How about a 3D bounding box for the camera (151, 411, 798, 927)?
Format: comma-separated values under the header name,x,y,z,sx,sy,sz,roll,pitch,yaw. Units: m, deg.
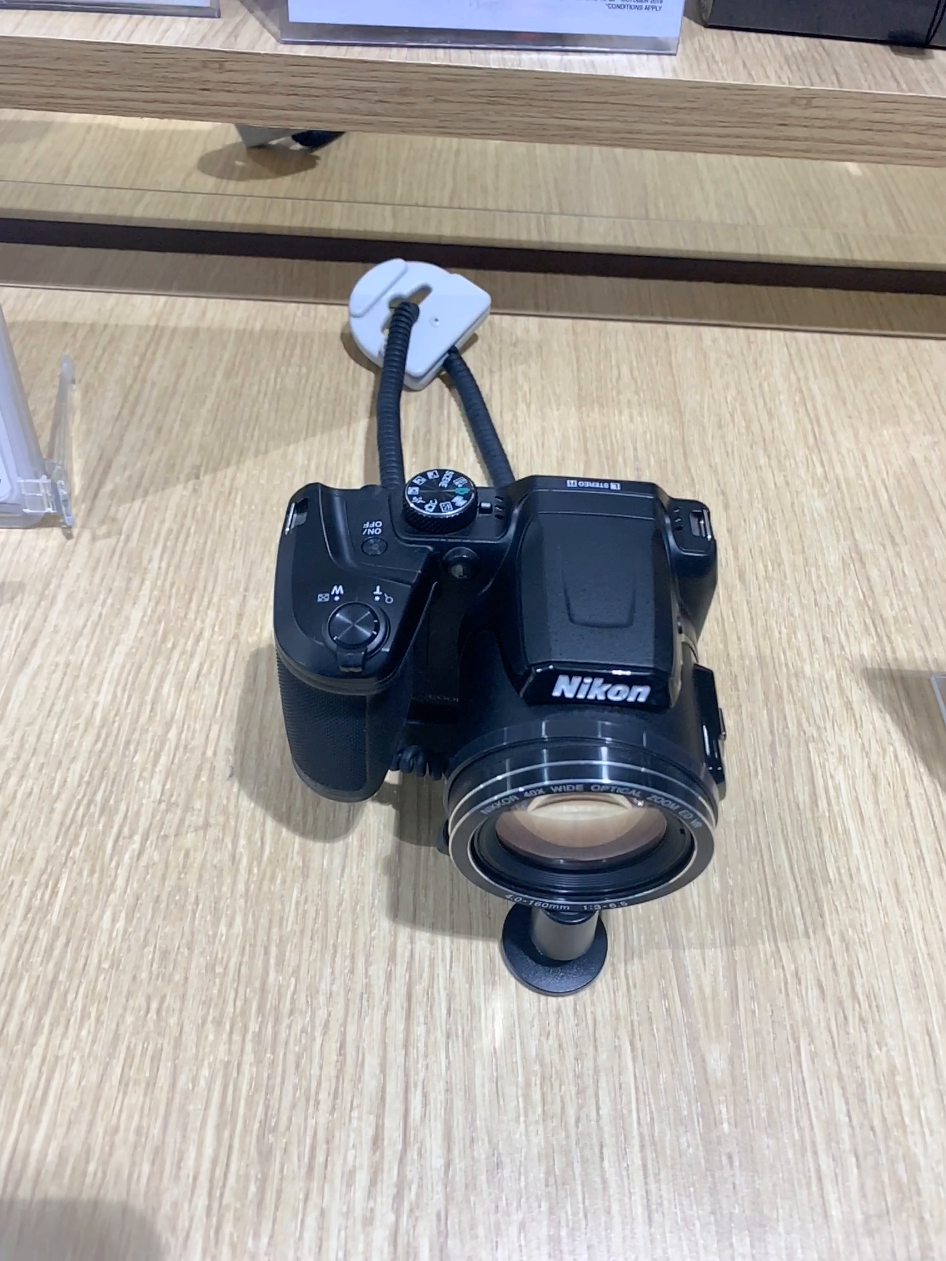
name,x,y,z,sx,sy,sz,roll,pitch,yaw
camera,0.000,0.010,0.240,0.120,0.080,0.090,3,50,-1
